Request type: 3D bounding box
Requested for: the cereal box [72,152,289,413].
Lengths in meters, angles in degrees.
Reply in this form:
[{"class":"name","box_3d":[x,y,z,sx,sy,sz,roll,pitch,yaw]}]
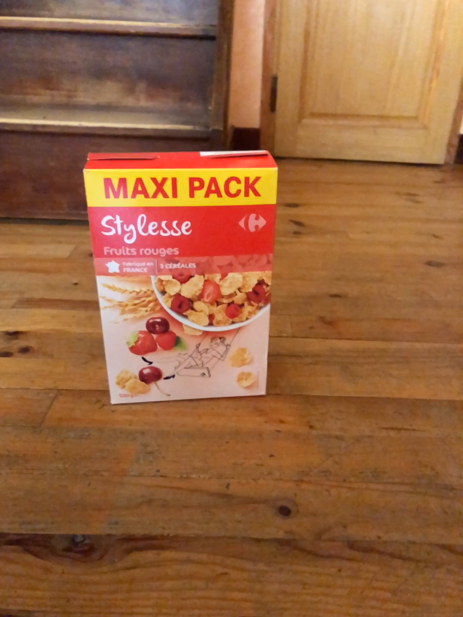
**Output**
[{"class":"cereal box","box_3d":[-0.055,-0.027,0.601,0.210,0.288,0.090,-2,27,-7]}]
